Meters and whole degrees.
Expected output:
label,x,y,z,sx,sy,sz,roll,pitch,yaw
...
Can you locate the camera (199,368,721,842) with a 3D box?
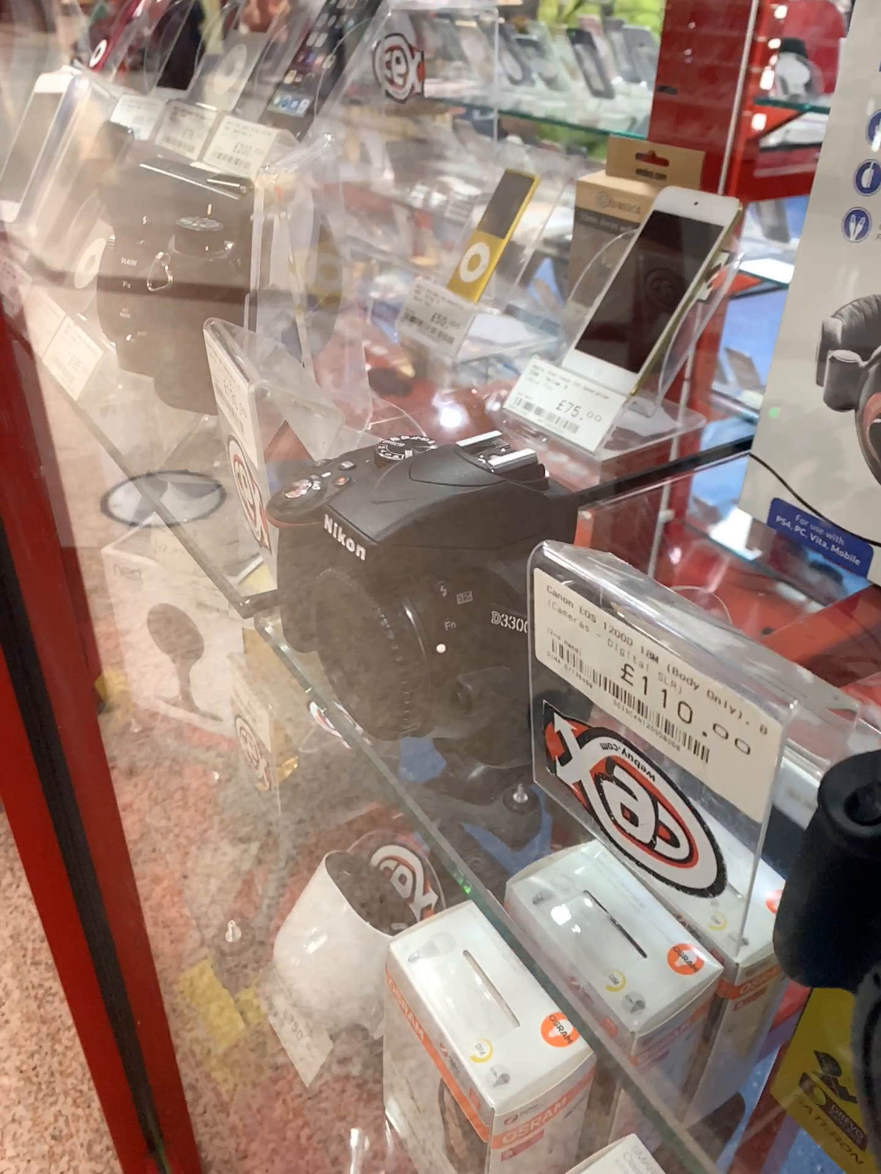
label,x,y,z,sx,sy,sz,roll,pitch,yaw
camera,0.001,-0.007,0.312,0.110,0.079,0.131,-22,40,-32
